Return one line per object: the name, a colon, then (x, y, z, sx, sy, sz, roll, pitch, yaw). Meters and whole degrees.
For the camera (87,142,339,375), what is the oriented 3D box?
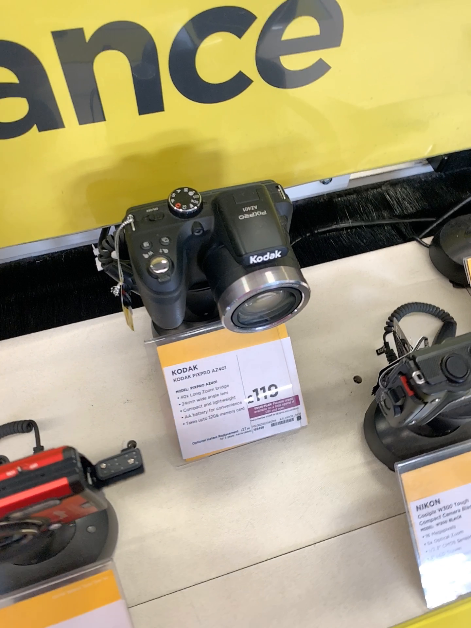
camera: (-0.017, -0.036, 0.331, 0.130, 0.099, 0.091, -15, 61, -10)
